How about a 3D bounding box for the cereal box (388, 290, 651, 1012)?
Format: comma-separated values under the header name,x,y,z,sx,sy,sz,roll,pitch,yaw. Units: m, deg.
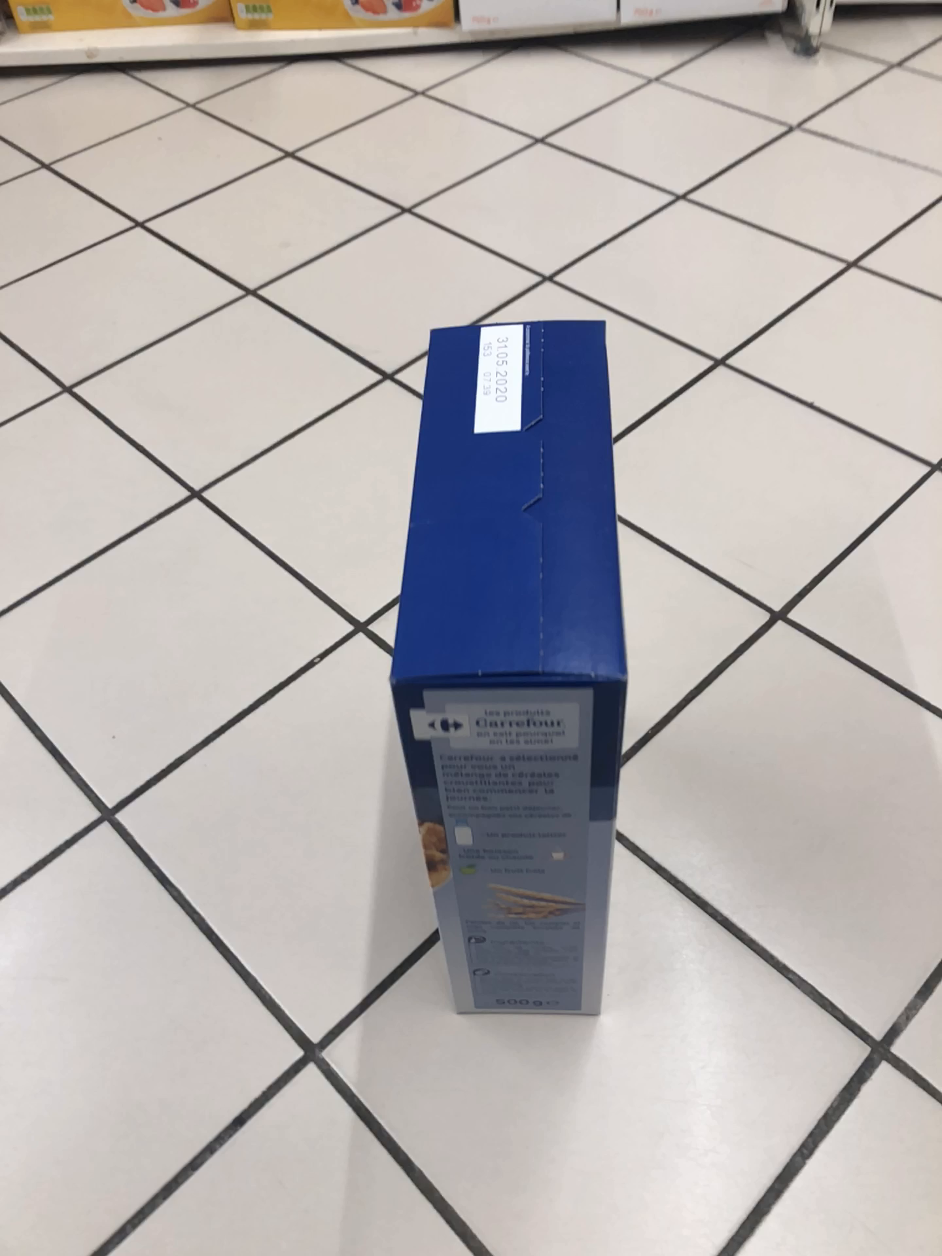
name,x,y,z,sx,sy,sz,roll,pitch,yaw
cereal box,0.022,0.024,0.489,0.080,0.278,0.211,-1,49,2
